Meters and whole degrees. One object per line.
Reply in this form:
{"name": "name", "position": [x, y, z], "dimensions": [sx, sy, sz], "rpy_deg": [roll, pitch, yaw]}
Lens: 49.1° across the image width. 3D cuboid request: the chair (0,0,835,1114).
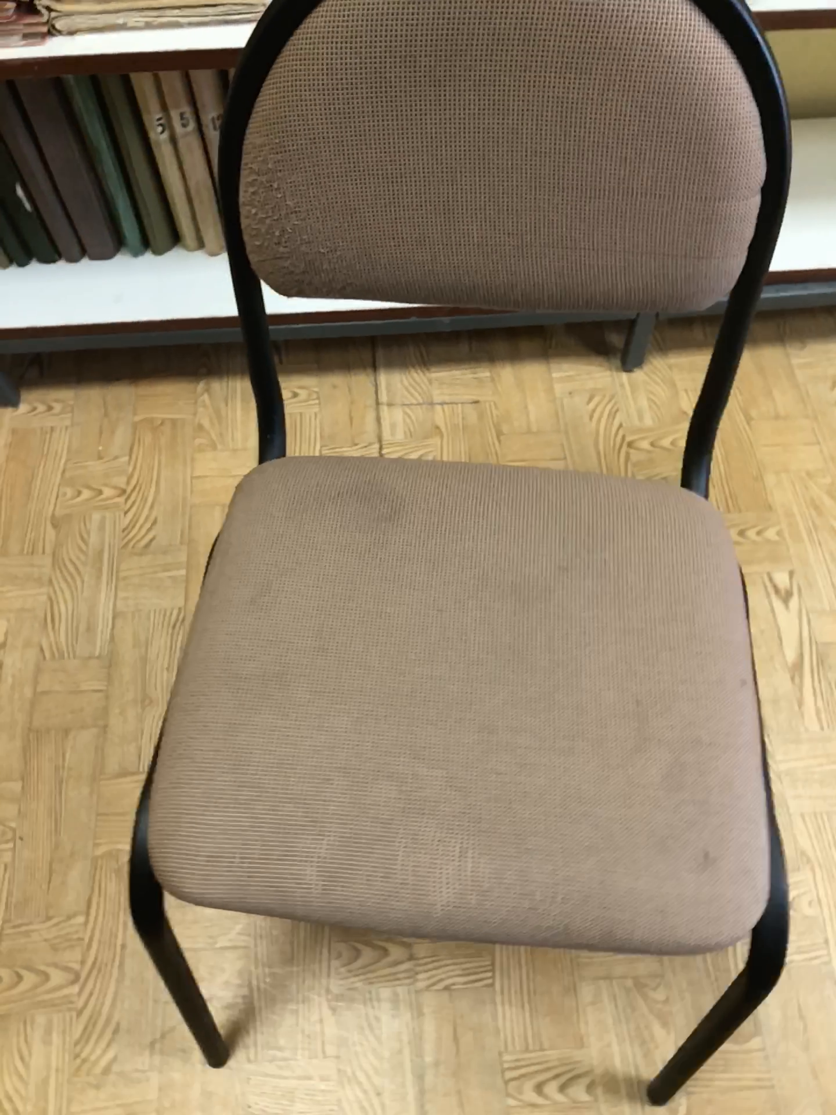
{"name": "chair", "position": [0.043, 0.069, 0.682], "dimensions": [0.478, 0.769, 0.576], "rpy_deg": [4, 61, 3]}
